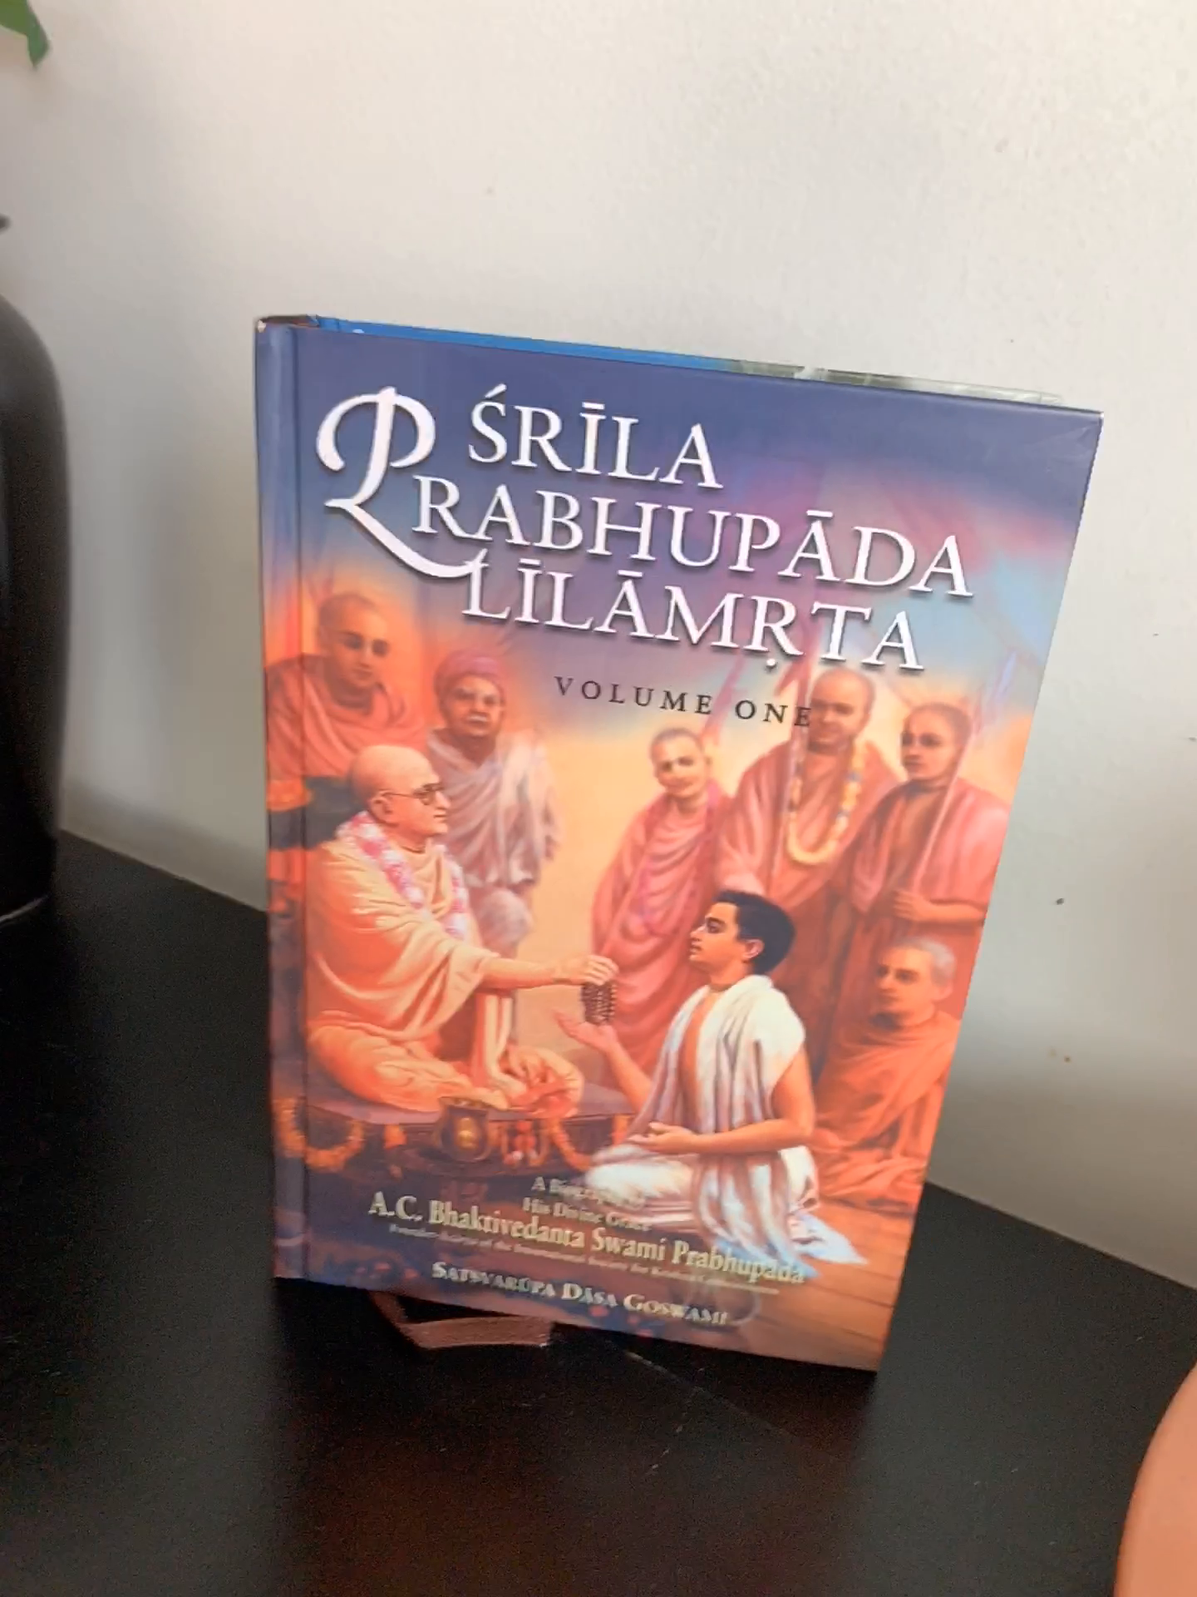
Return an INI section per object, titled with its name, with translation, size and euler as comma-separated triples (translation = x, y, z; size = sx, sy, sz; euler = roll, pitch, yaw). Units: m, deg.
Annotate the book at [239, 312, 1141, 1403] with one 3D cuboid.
[book]
translation = 0.005, 0.024, 0.280
size = 0.161, 0.233, 0.030
euler = 8, 23, 5
